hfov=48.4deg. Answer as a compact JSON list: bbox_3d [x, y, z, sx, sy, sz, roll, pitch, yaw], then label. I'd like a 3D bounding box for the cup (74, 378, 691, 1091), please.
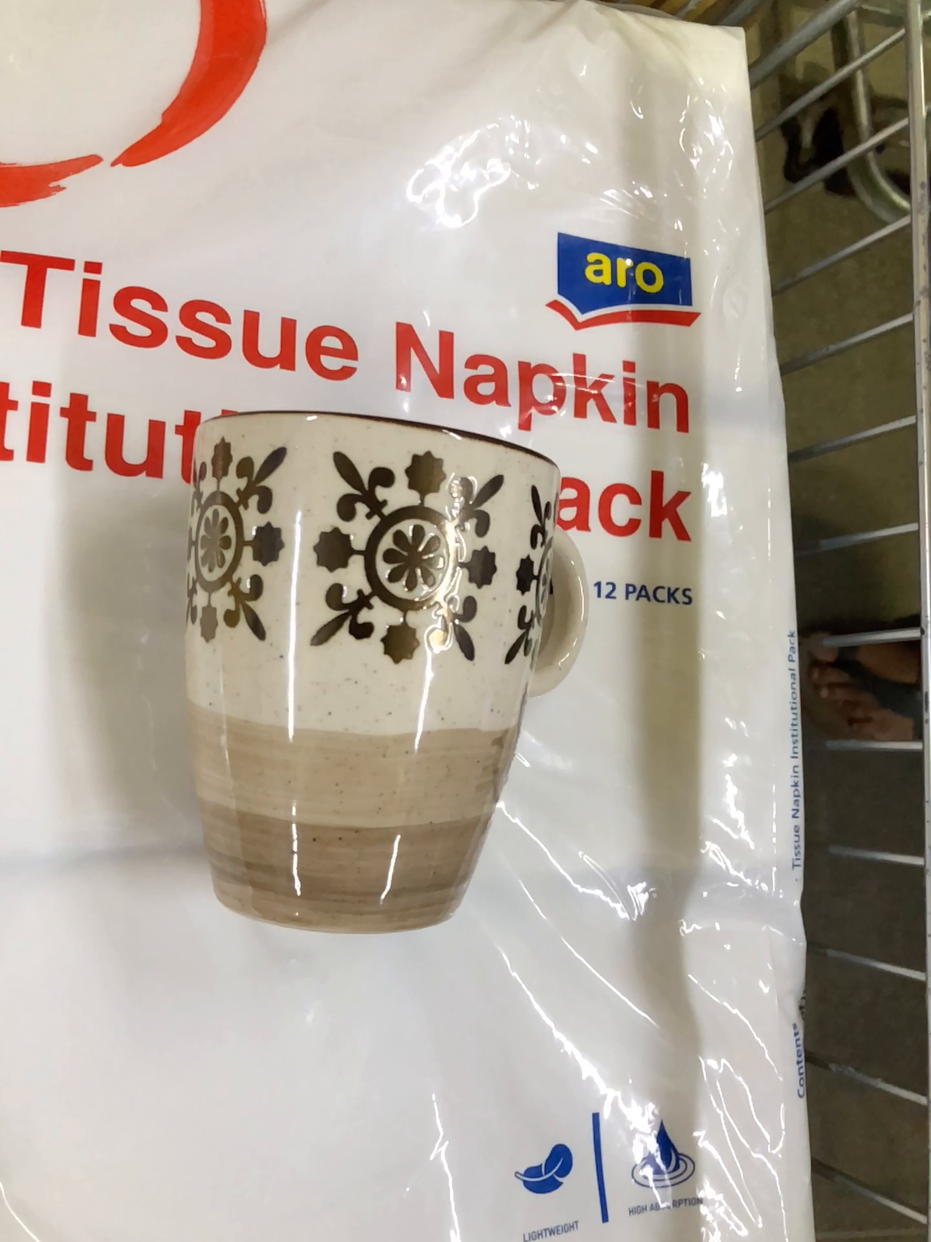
[{"bbox_3d":[-0.012,0.021,0.221,0.100,0.070,0.110,-3,94,-49],"label":"cup"}]
